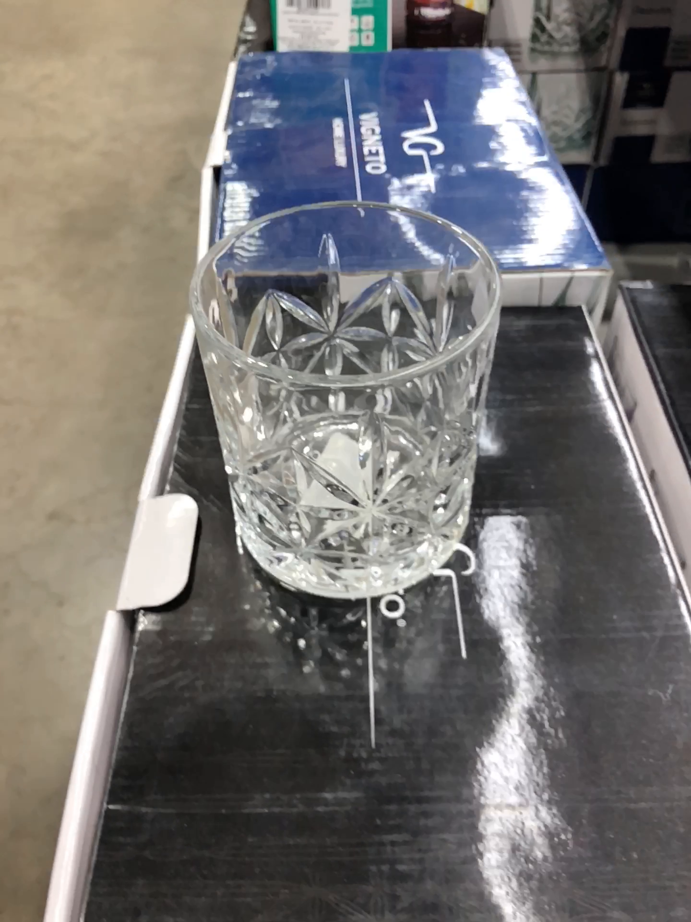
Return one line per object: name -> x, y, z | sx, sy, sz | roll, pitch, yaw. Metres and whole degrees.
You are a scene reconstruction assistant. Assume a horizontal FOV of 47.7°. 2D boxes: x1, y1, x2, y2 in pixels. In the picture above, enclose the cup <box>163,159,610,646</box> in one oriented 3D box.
cup -> 0.004, -0.020, 0.249 | 0.100, 0.100, 0.100 | -1, 46, 1
